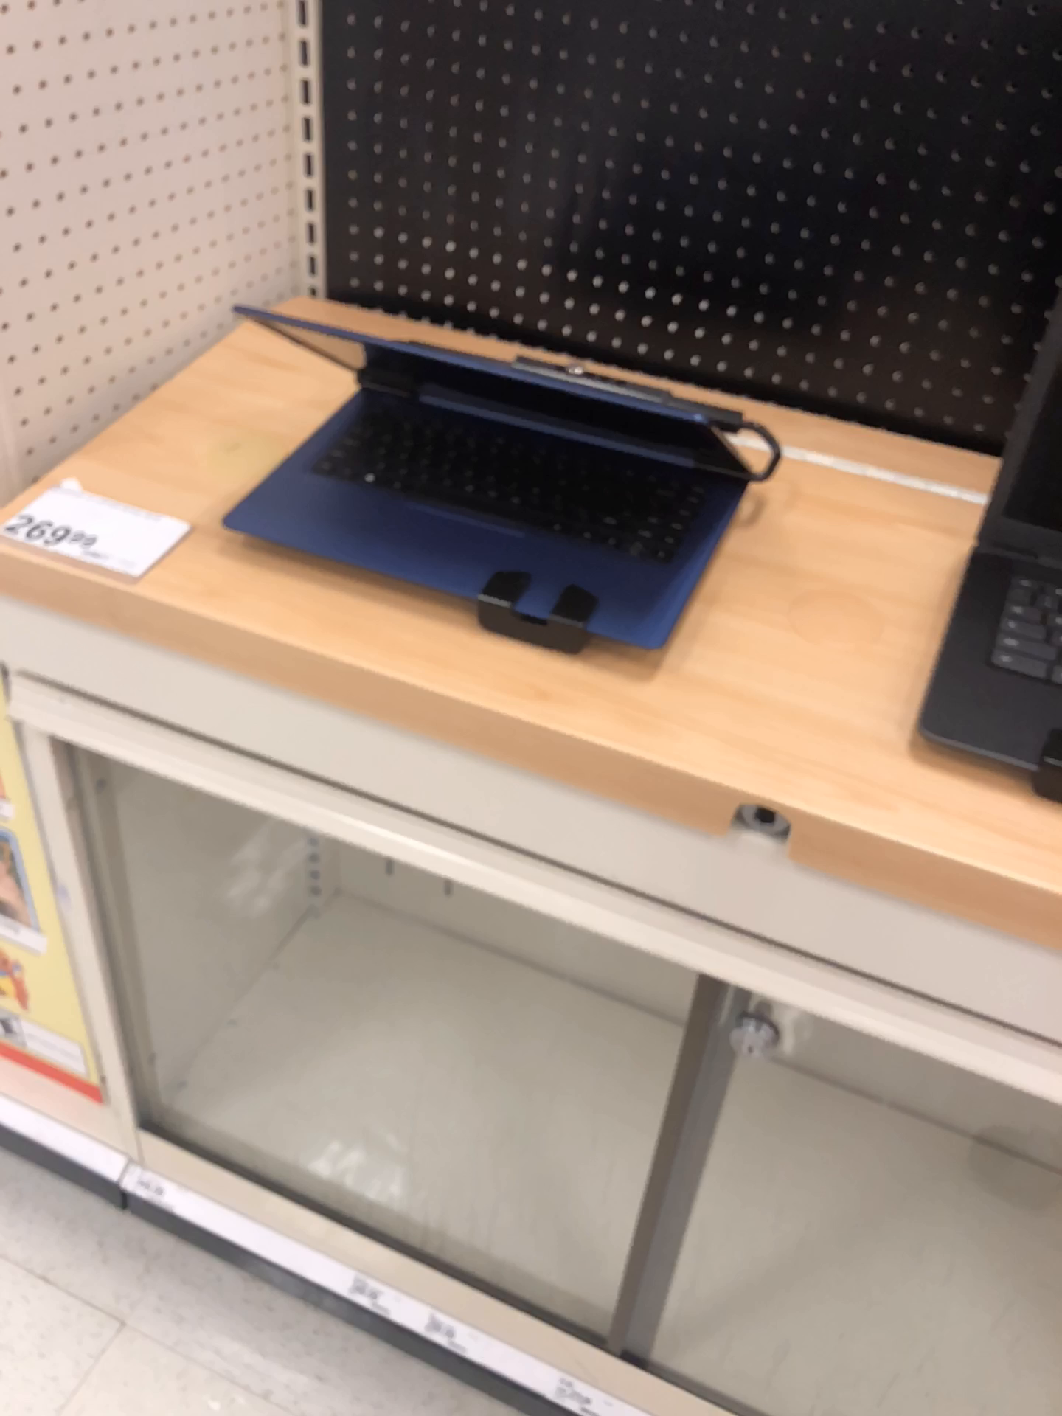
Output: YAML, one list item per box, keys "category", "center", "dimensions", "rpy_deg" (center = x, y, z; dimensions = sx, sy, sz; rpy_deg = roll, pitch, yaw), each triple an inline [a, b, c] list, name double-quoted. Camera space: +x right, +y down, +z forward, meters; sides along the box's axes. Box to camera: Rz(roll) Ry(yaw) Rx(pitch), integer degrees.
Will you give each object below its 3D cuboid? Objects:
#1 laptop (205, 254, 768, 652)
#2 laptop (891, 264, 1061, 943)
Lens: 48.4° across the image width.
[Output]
- category: "laptop"
  center: [-0.029, -0.190, 0.817]
  dimensions: [0.321, 0.110, 0.202]
  rpy_deg: [18, 44, 16]
- category: "laptop"
  center: [0.427, -0.076, 0.659]
  dimensions: [0.331, 0.206, 0.224]
  rpy_deg: [19, 42, 18]
